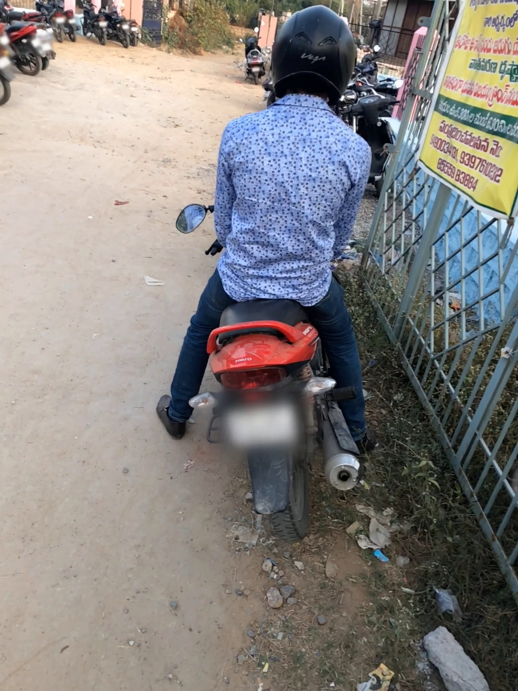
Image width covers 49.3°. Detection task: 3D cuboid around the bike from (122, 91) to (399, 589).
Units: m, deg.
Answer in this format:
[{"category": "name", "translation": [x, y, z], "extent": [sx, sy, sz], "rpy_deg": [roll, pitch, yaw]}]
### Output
[{"category": "bike", "translation": [-0.133, -0.195, 2.277], "extent": [0.582, 1.176, 1.698], "rpy_deg": [6, 32, -9]}]
